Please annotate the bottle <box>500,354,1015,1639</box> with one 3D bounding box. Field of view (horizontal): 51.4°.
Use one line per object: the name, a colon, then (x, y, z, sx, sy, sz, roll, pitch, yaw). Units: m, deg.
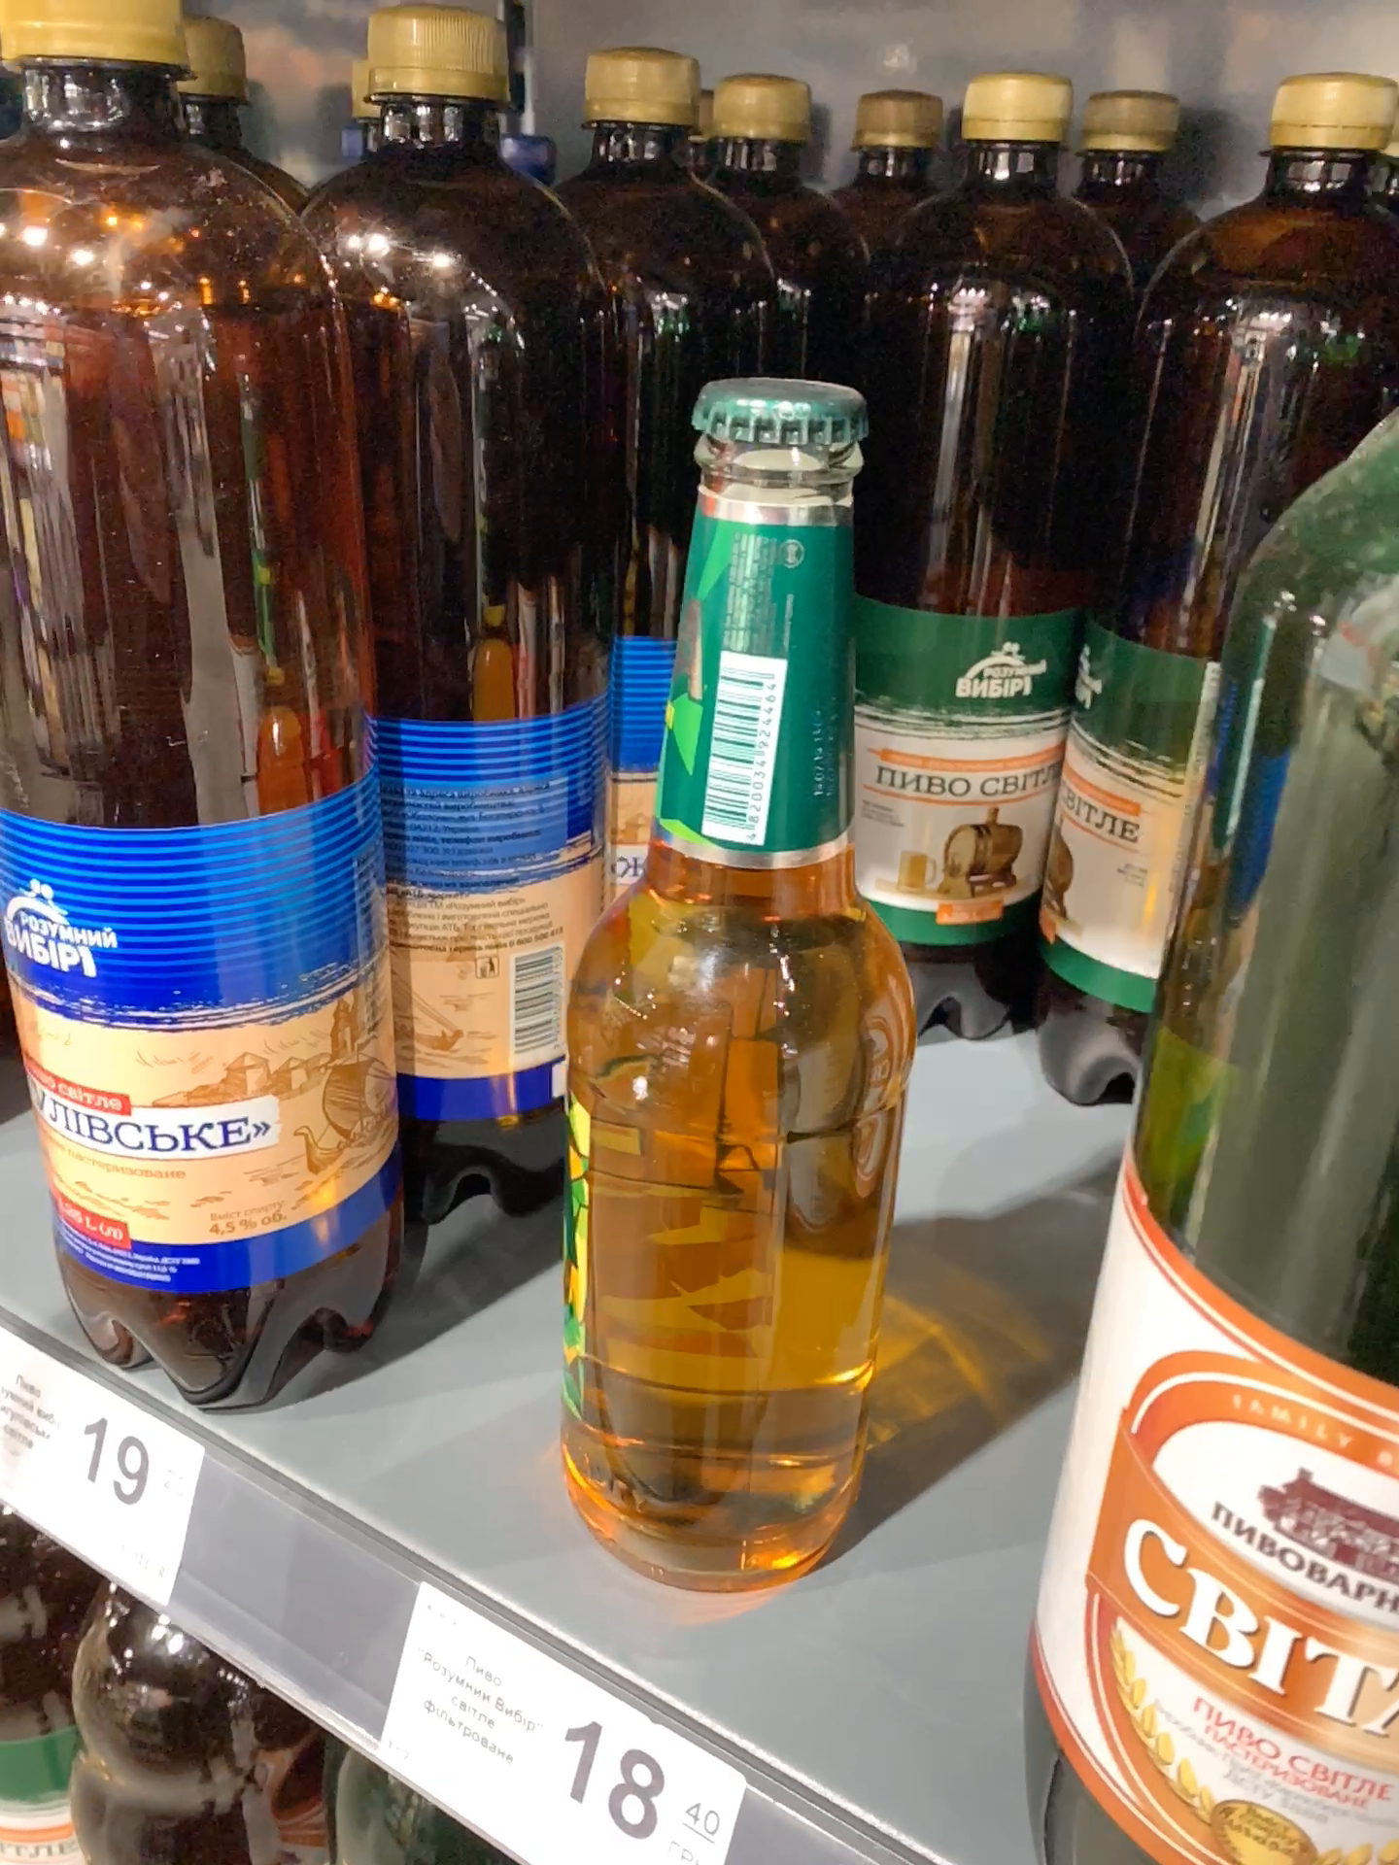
bottle: (0.009, 0.019, 0.287, 0.066, 0.238, 0.072, 2, 27, -1)
